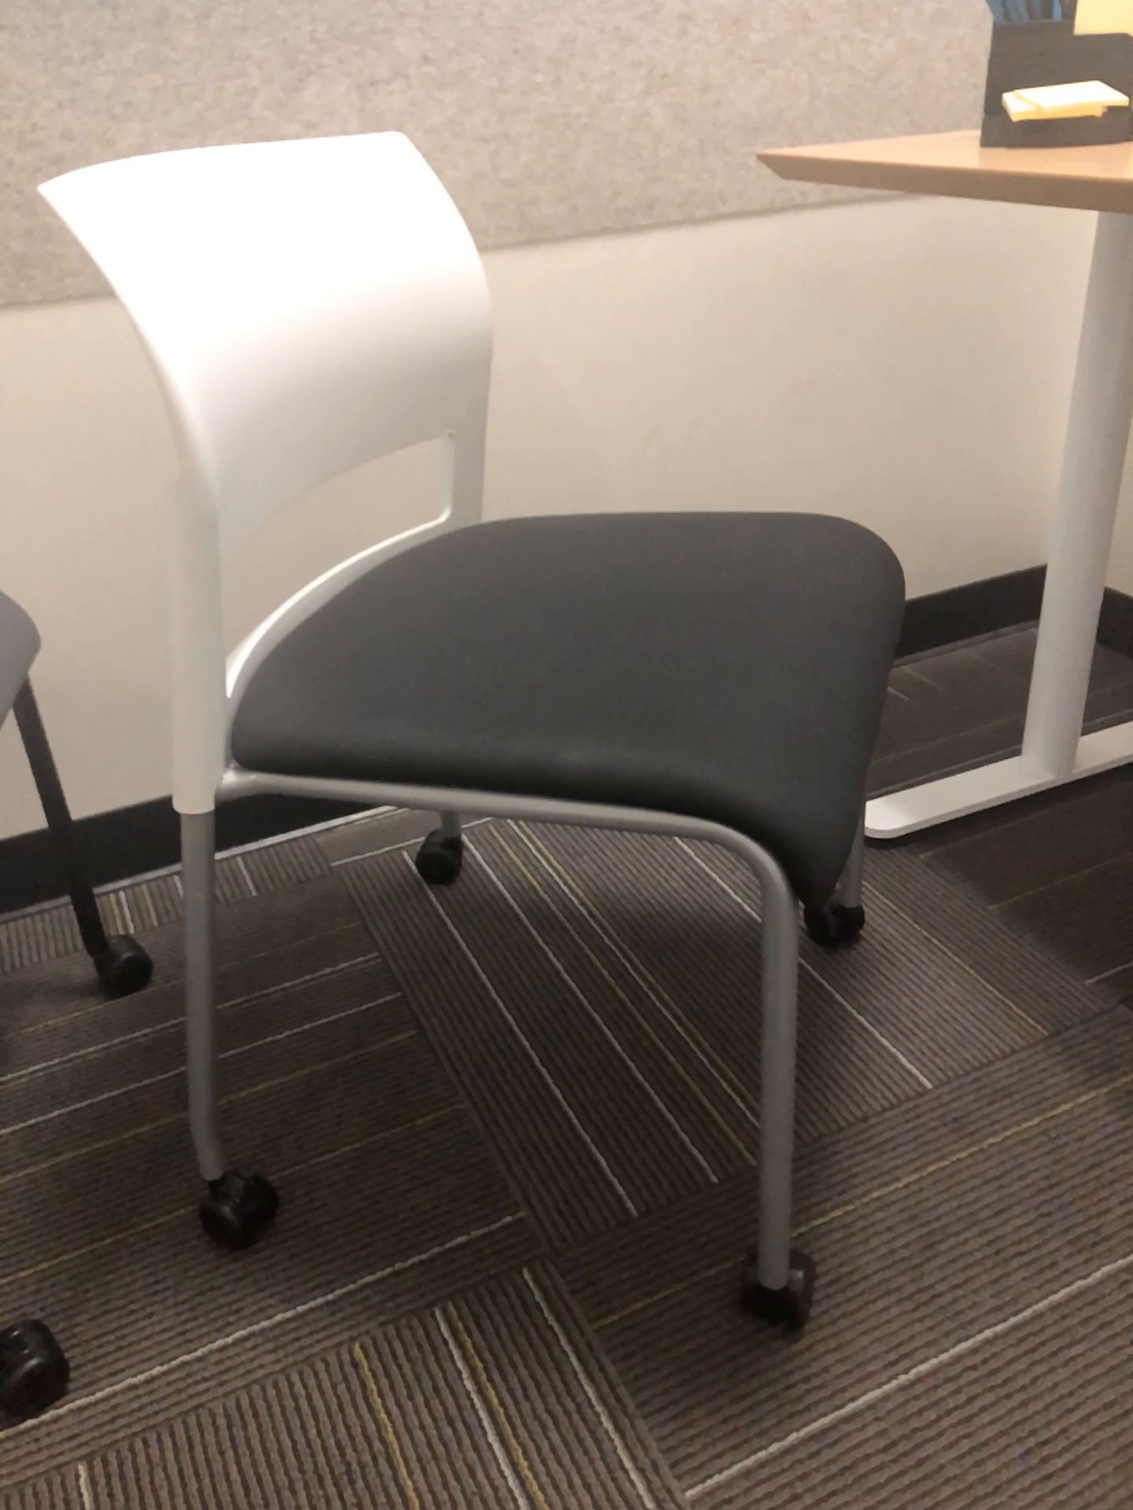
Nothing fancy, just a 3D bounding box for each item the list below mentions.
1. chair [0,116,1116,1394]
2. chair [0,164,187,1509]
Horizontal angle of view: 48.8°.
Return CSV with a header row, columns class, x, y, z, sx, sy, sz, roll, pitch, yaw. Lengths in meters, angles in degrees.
class,x,y,z,sx,sy,sz,roll,pitch,yaw
chair,0.022,-0.063,1.218,0.650,0.962,0.706,6,29,9
chair,-0.765,0.044,1.047,0.650,0.933,0.705,-5,28,-7
